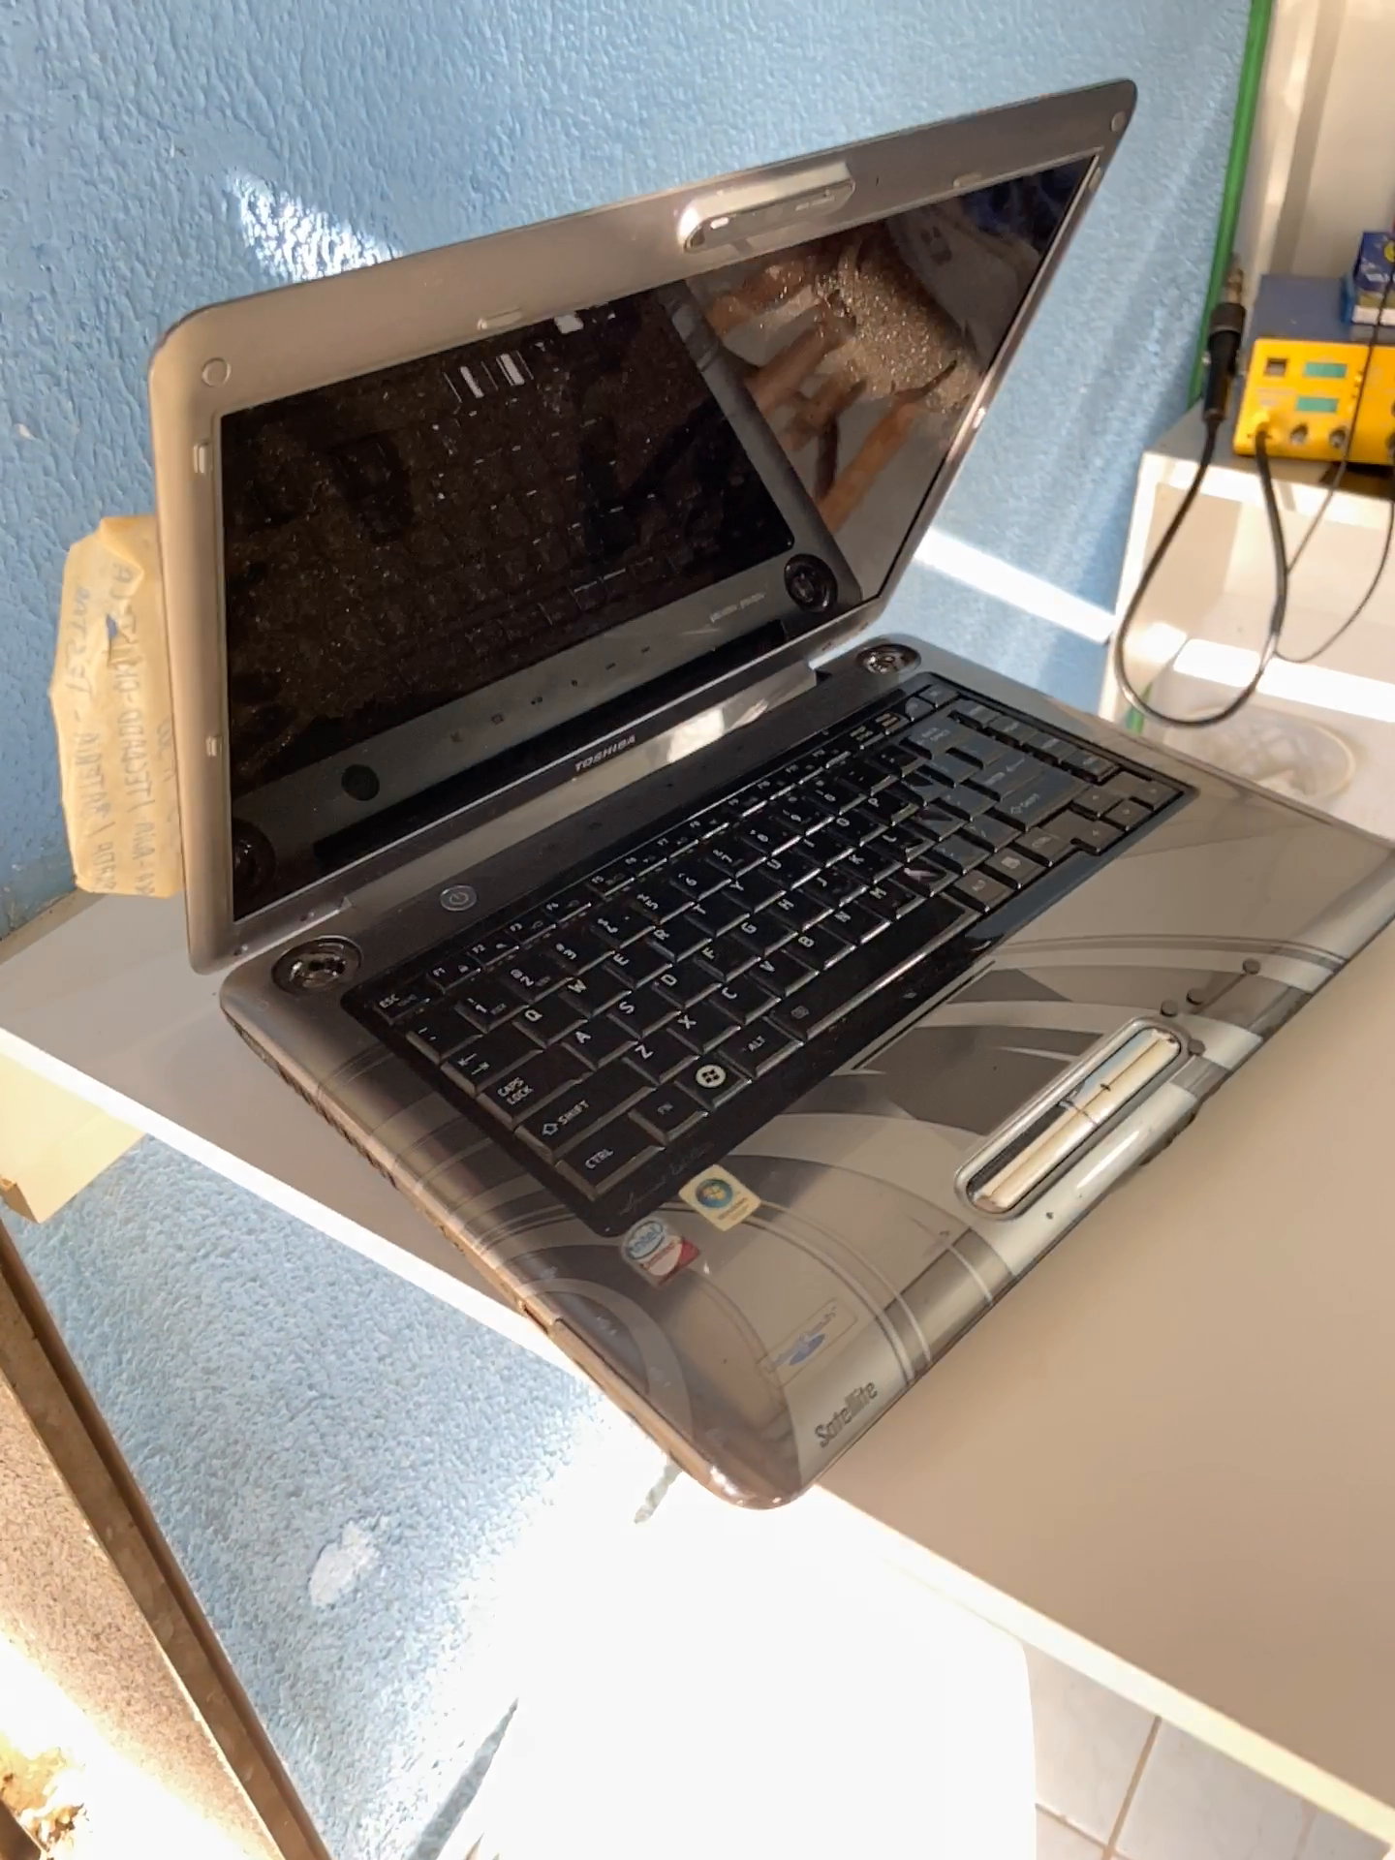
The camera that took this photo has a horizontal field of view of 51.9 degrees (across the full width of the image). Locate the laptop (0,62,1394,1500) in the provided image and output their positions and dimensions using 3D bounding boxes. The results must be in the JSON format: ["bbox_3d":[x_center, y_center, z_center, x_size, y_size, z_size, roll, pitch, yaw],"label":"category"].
[{"bbox_3d":[0.053,-0.093,0.441,0.359,0.235,0.259,-32,48,-32],"label":"laptop"}]
